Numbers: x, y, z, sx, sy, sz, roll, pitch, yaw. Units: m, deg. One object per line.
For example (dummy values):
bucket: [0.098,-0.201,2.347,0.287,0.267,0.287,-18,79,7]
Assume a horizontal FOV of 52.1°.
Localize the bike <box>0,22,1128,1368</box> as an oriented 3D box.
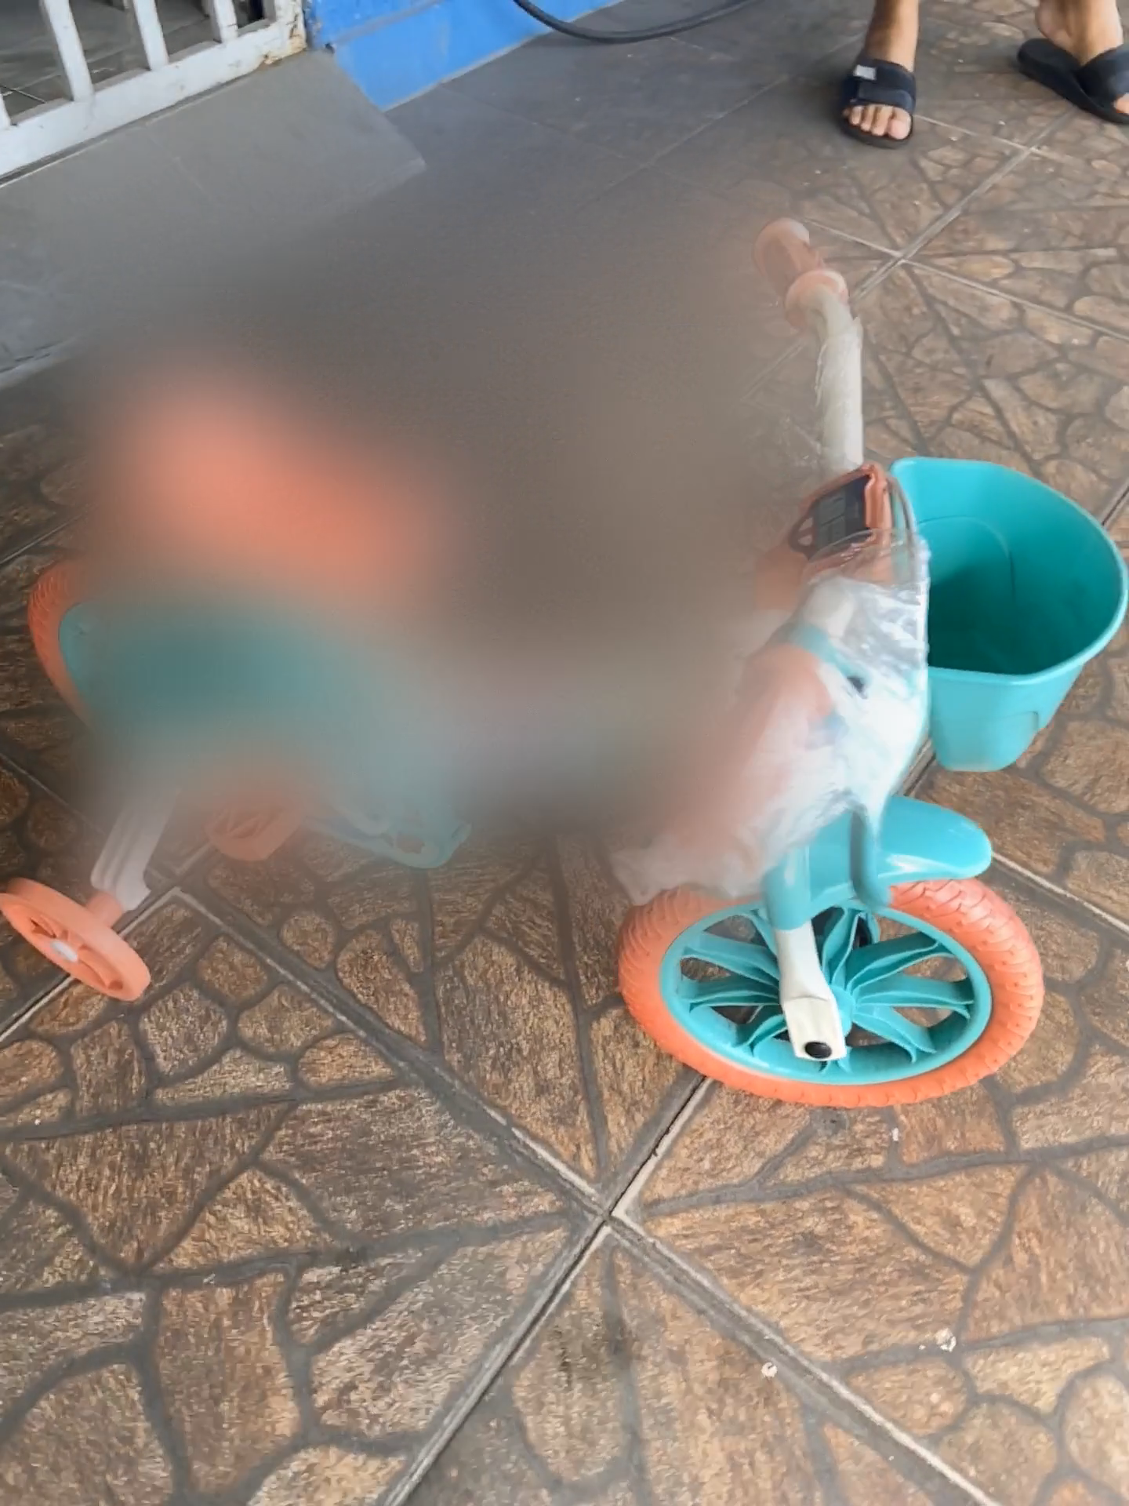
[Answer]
bike: [-0.056,-0.069,0.778,0.806,0.534,0.501,17,52,16]
